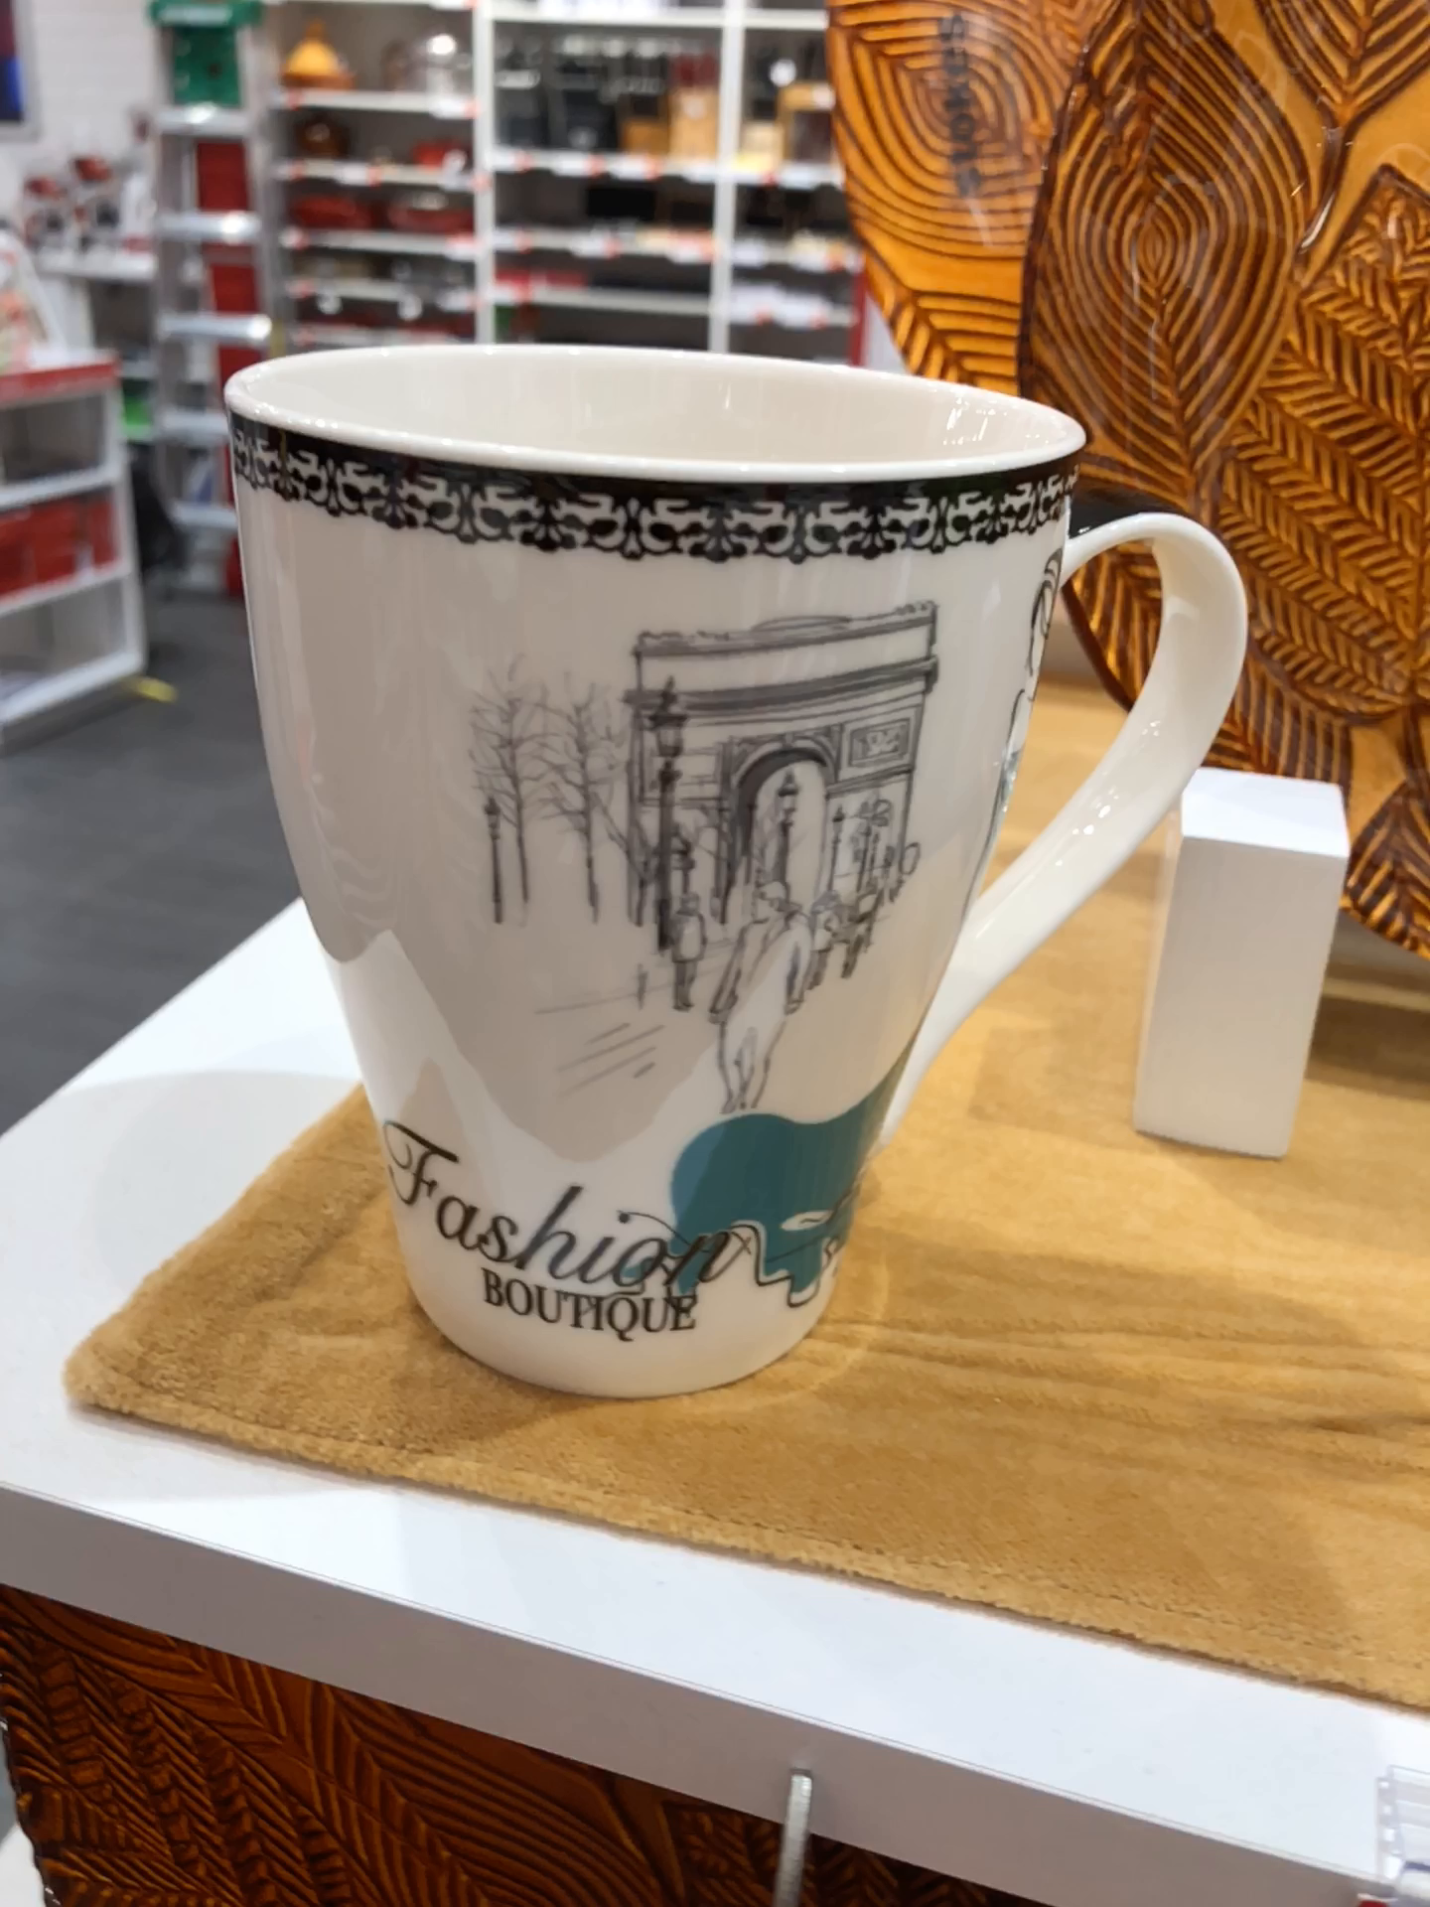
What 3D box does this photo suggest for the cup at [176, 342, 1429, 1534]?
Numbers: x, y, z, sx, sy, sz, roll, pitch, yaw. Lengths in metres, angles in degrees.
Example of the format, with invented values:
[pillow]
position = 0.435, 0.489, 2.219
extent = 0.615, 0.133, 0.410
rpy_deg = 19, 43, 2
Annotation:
[cup]
position = 0.002, -0.012, 0.185
extent = 0.110, 0.100, 0.080
rpy_deg = -6, 27, -18
